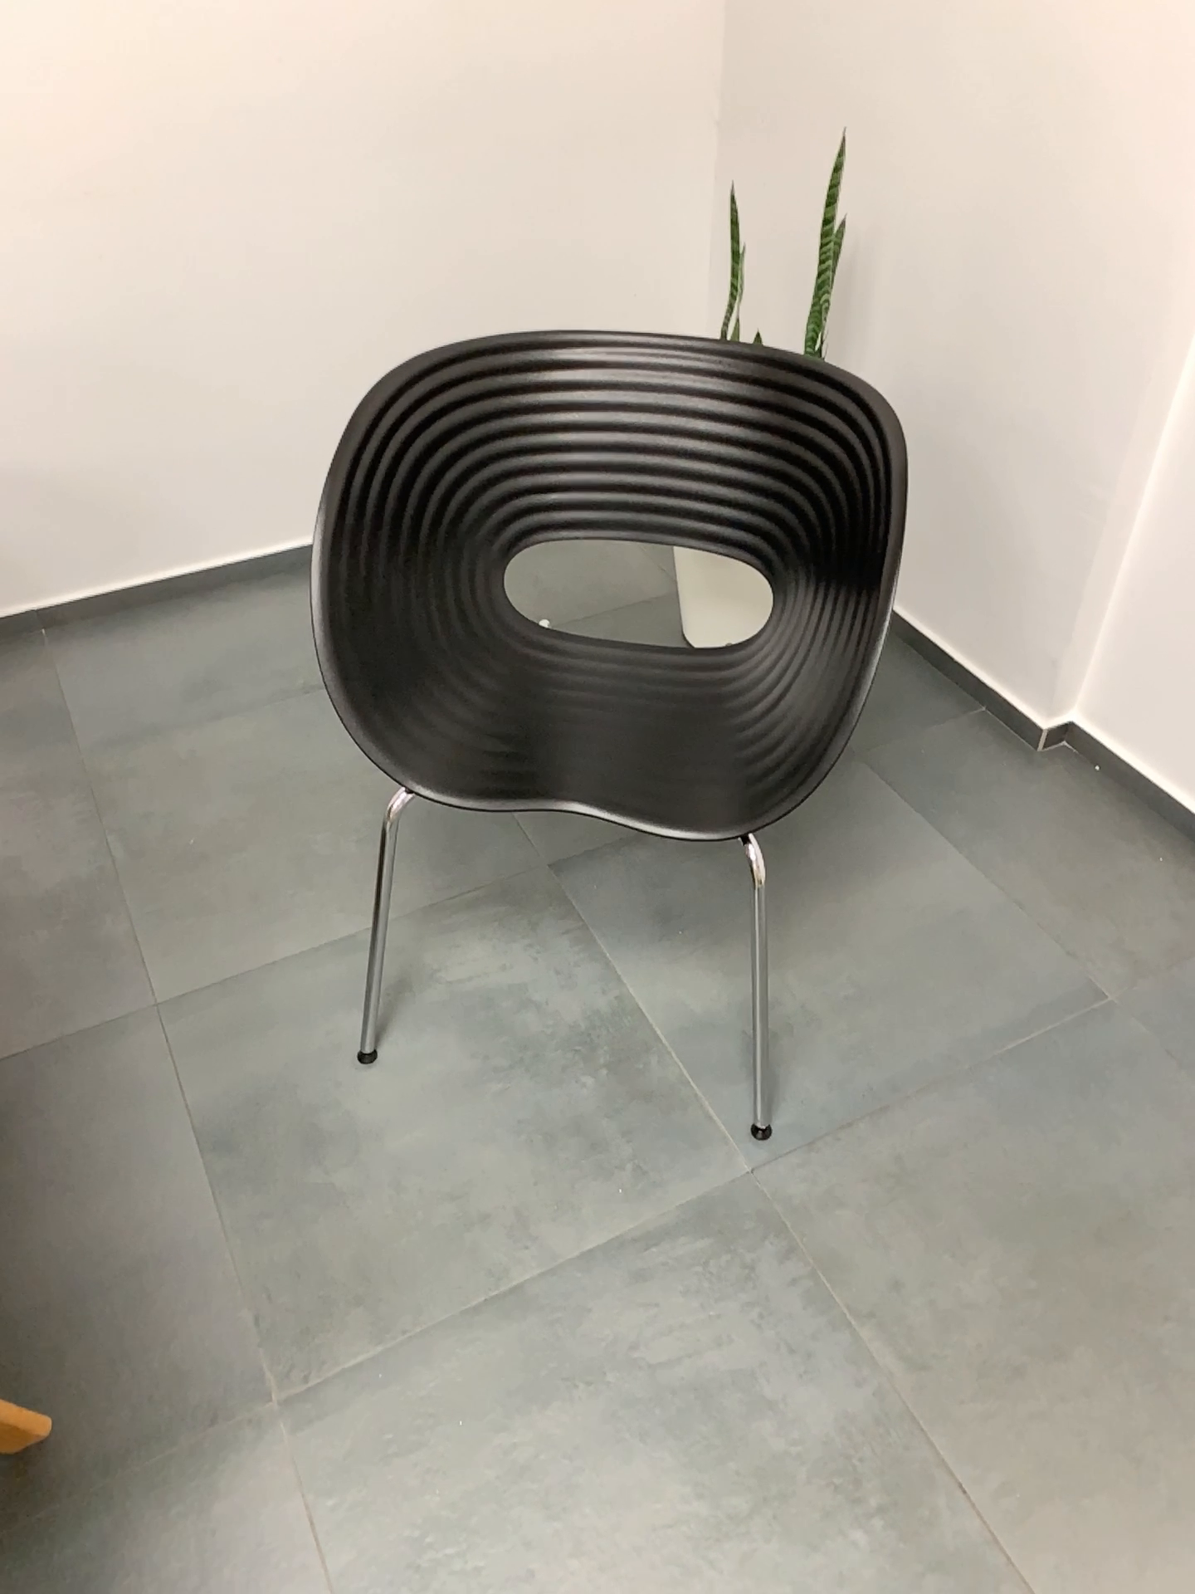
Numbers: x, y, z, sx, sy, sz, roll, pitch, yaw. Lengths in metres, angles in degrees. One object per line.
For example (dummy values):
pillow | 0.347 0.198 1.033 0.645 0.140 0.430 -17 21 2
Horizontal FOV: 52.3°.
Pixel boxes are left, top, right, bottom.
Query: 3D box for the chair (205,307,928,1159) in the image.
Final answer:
chair | 0.019 -0.091 1.582 0.650 0.796 0.643 9 42 9
